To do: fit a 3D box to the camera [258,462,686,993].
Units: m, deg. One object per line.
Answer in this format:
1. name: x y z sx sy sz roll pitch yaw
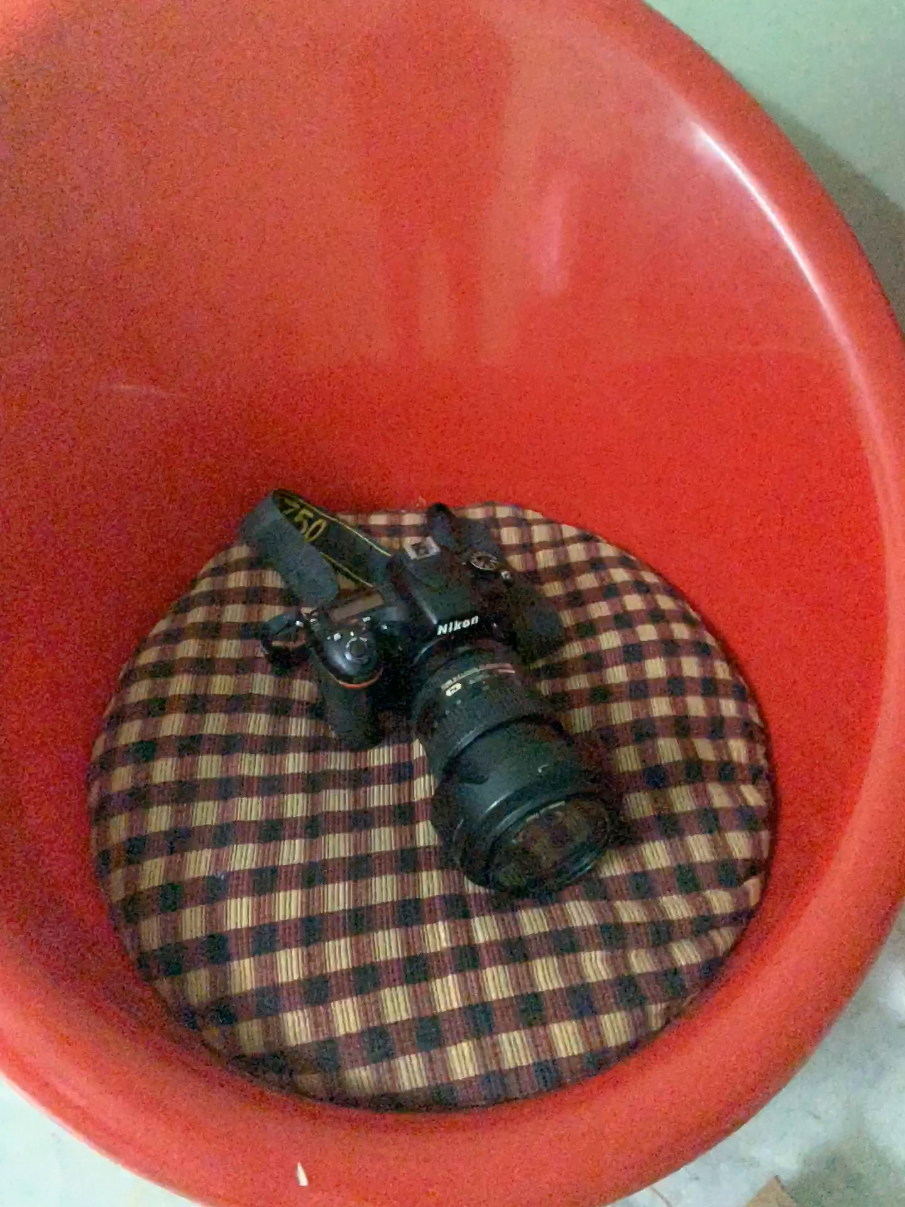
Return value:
1. camera: -0.003 0.072 0.606 0.160 0.179 0.253 -17 51 -16
